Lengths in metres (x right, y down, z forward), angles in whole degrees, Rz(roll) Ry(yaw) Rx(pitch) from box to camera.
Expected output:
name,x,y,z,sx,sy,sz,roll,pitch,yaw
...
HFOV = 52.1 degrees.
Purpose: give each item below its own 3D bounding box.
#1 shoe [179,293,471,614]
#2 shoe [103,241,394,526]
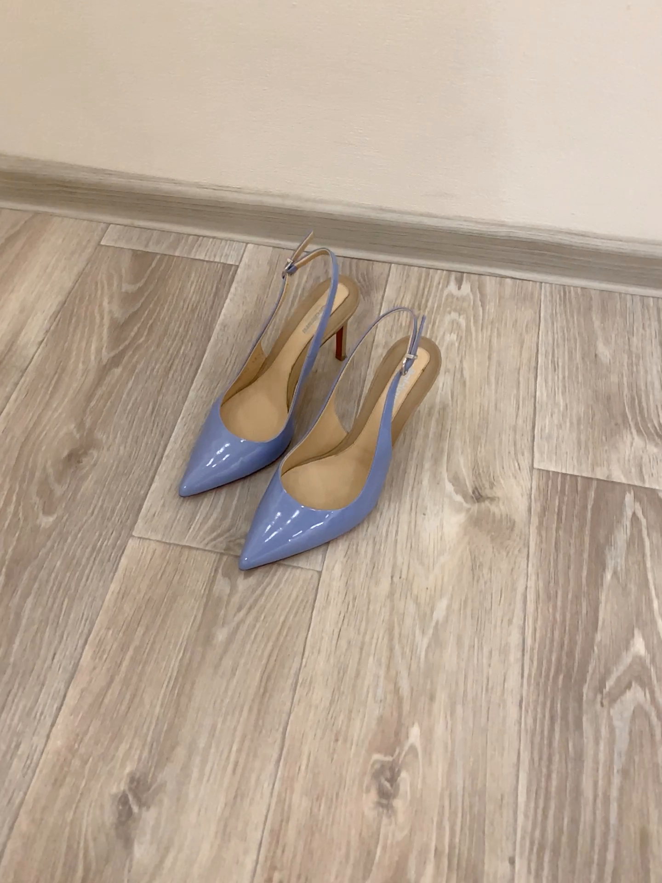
name,x,y,z,sx,sy,sz,roll,pitch,yaw
shoe,0.003,0.003,0.533,0.089,0.100,0.230,33,62,20
shoe,-0.059,-0.054,0.575,0.089,0.100,0.230,38,64,22
